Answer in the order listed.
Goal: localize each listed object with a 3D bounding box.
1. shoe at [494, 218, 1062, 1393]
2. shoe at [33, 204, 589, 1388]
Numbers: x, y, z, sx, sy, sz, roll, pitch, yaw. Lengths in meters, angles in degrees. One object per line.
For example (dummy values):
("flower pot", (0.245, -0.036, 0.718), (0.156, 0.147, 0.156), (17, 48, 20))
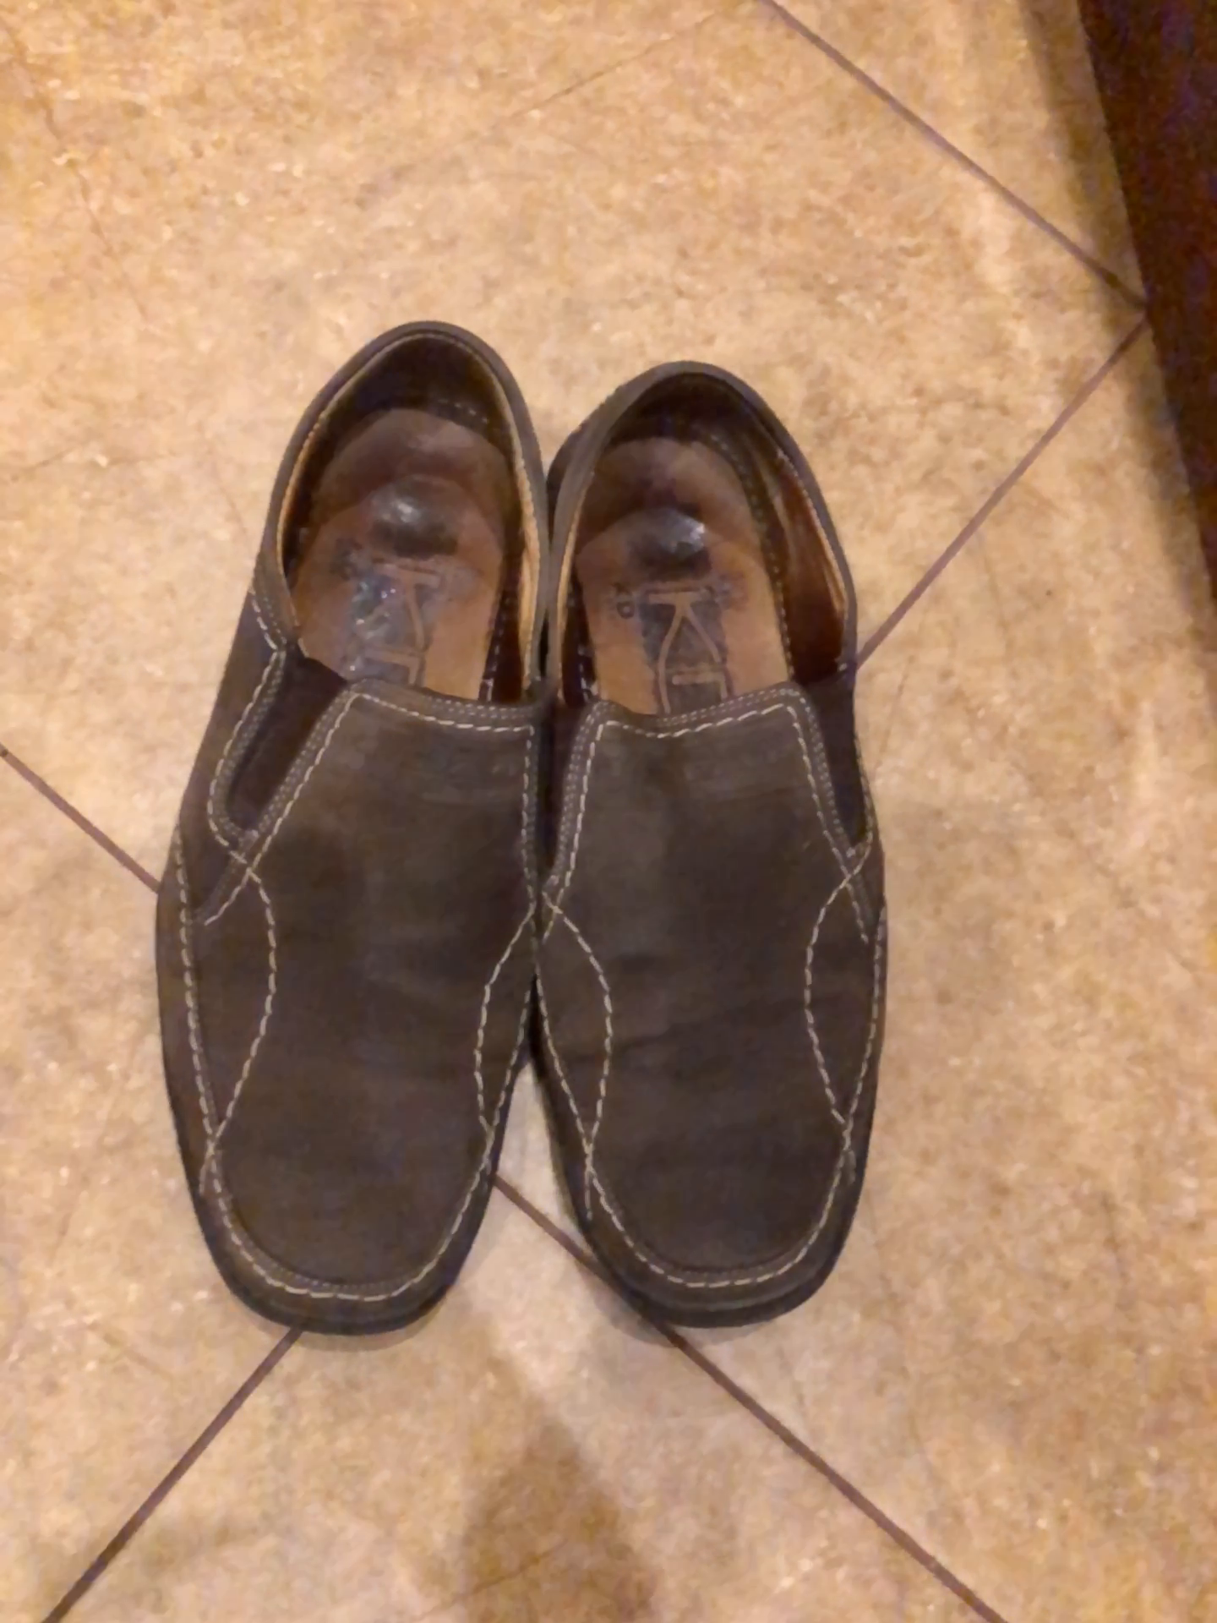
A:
("shoe", (0.033, -0.007, 0.383), (0.120, 0.090, 0.300), (0, 75, -8))
("shoe", (-0.071, -0.008, 0.379), (0.120, 0.090, 0.300), (2, 75, -8))
